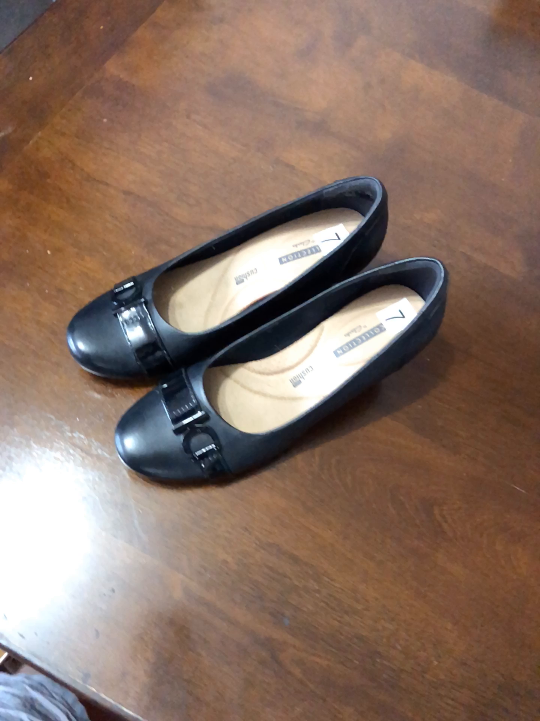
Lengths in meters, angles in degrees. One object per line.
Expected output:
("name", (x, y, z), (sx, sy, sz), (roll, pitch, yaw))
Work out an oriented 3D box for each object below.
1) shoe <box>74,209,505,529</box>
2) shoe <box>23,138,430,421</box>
("shoe", (0.013, 0.005, 0.409), (0.250, 0.110, 0.090), (-25, 72, -18))
("shoe", (-0.028, -0.060, 0.440), (0.250, 0.110, 0.090), (-21, 71, -17))
